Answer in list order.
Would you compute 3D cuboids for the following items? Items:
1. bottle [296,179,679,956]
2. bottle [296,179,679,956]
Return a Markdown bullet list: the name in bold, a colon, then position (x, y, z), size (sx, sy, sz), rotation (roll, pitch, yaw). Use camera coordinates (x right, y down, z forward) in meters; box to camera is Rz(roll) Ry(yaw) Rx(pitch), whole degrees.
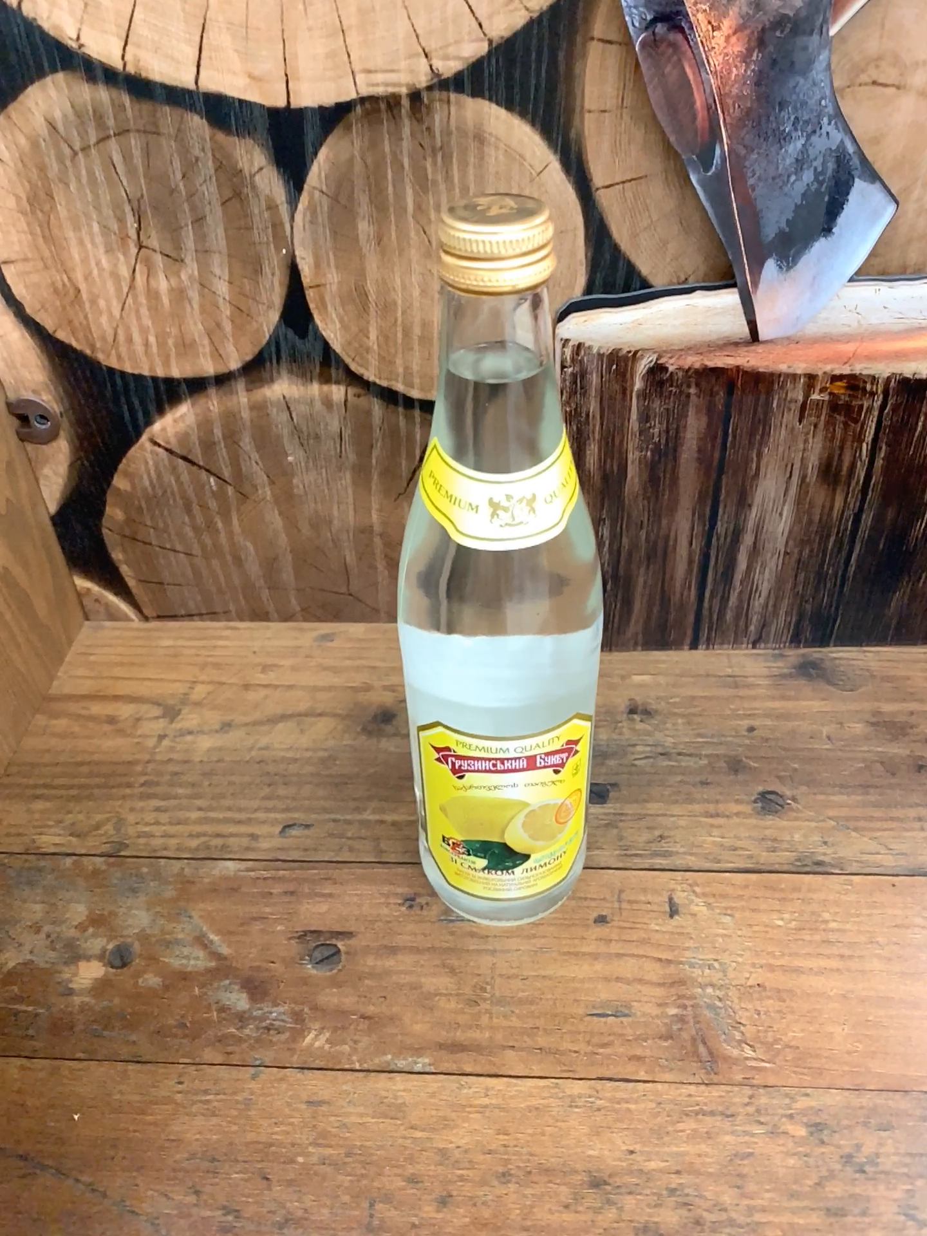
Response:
- **bottle**: position (0.009, 0.002, 0.271), size (0.070, 0.219, 0.070), rotation (-1, 39, 1)
- **bottle**: position (0.009, 0.002, 0.271), size (0.070, 0.219, 0.070), rotation (-1, 39, 1)
